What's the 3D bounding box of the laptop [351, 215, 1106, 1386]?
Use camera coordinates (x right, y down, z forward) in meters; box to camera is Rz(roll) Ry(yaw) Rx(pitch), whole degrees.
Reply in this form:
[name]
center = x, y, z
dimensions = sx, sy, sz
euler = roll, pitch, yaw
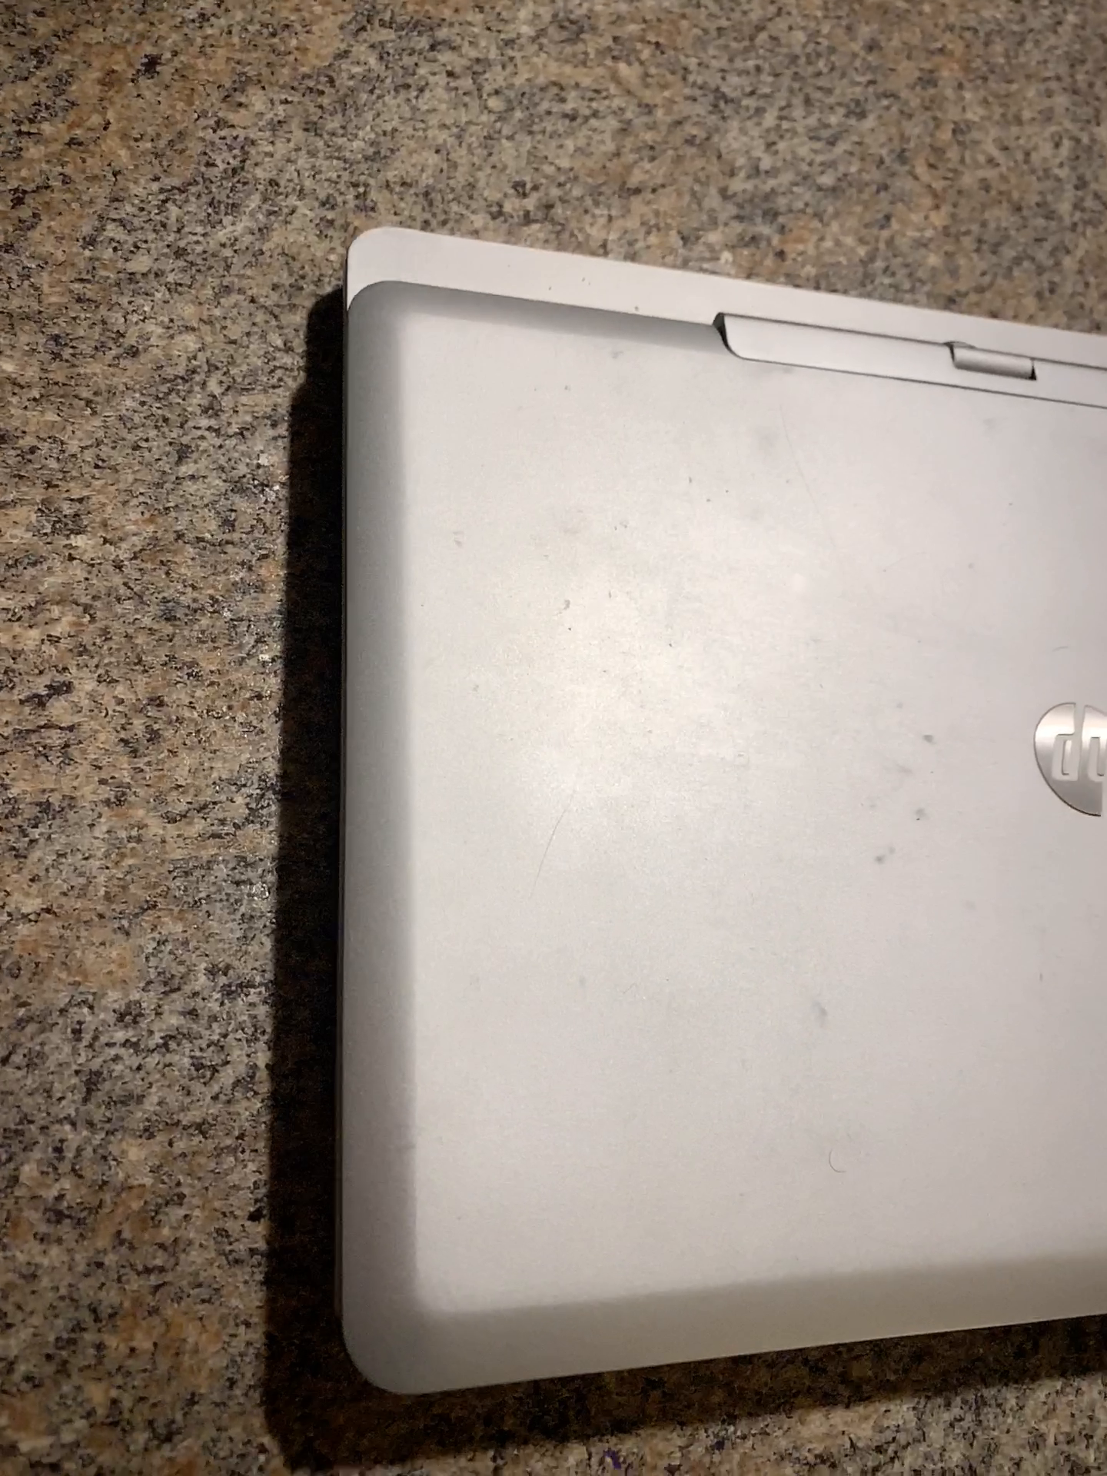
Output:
[laptop]
center = 0.098, -0.002, 0.218
dimensions = 0.268, 0.005, 0.194
euler = 2, 68, -15
